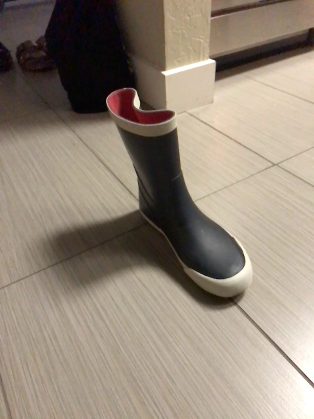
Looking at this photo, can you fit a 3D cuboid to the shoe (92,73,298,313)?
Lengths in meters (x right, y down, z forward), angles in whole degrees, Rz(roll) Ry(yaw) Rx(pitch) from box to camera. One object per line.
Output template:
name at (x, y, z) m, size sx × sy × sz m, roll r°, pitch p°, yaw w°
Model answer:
shoe at (0.036, -0.037, 0.491) m, size 0.102 × 0.216 × 0.279 m, roll -27°, pitch 45°, yaw -20°
